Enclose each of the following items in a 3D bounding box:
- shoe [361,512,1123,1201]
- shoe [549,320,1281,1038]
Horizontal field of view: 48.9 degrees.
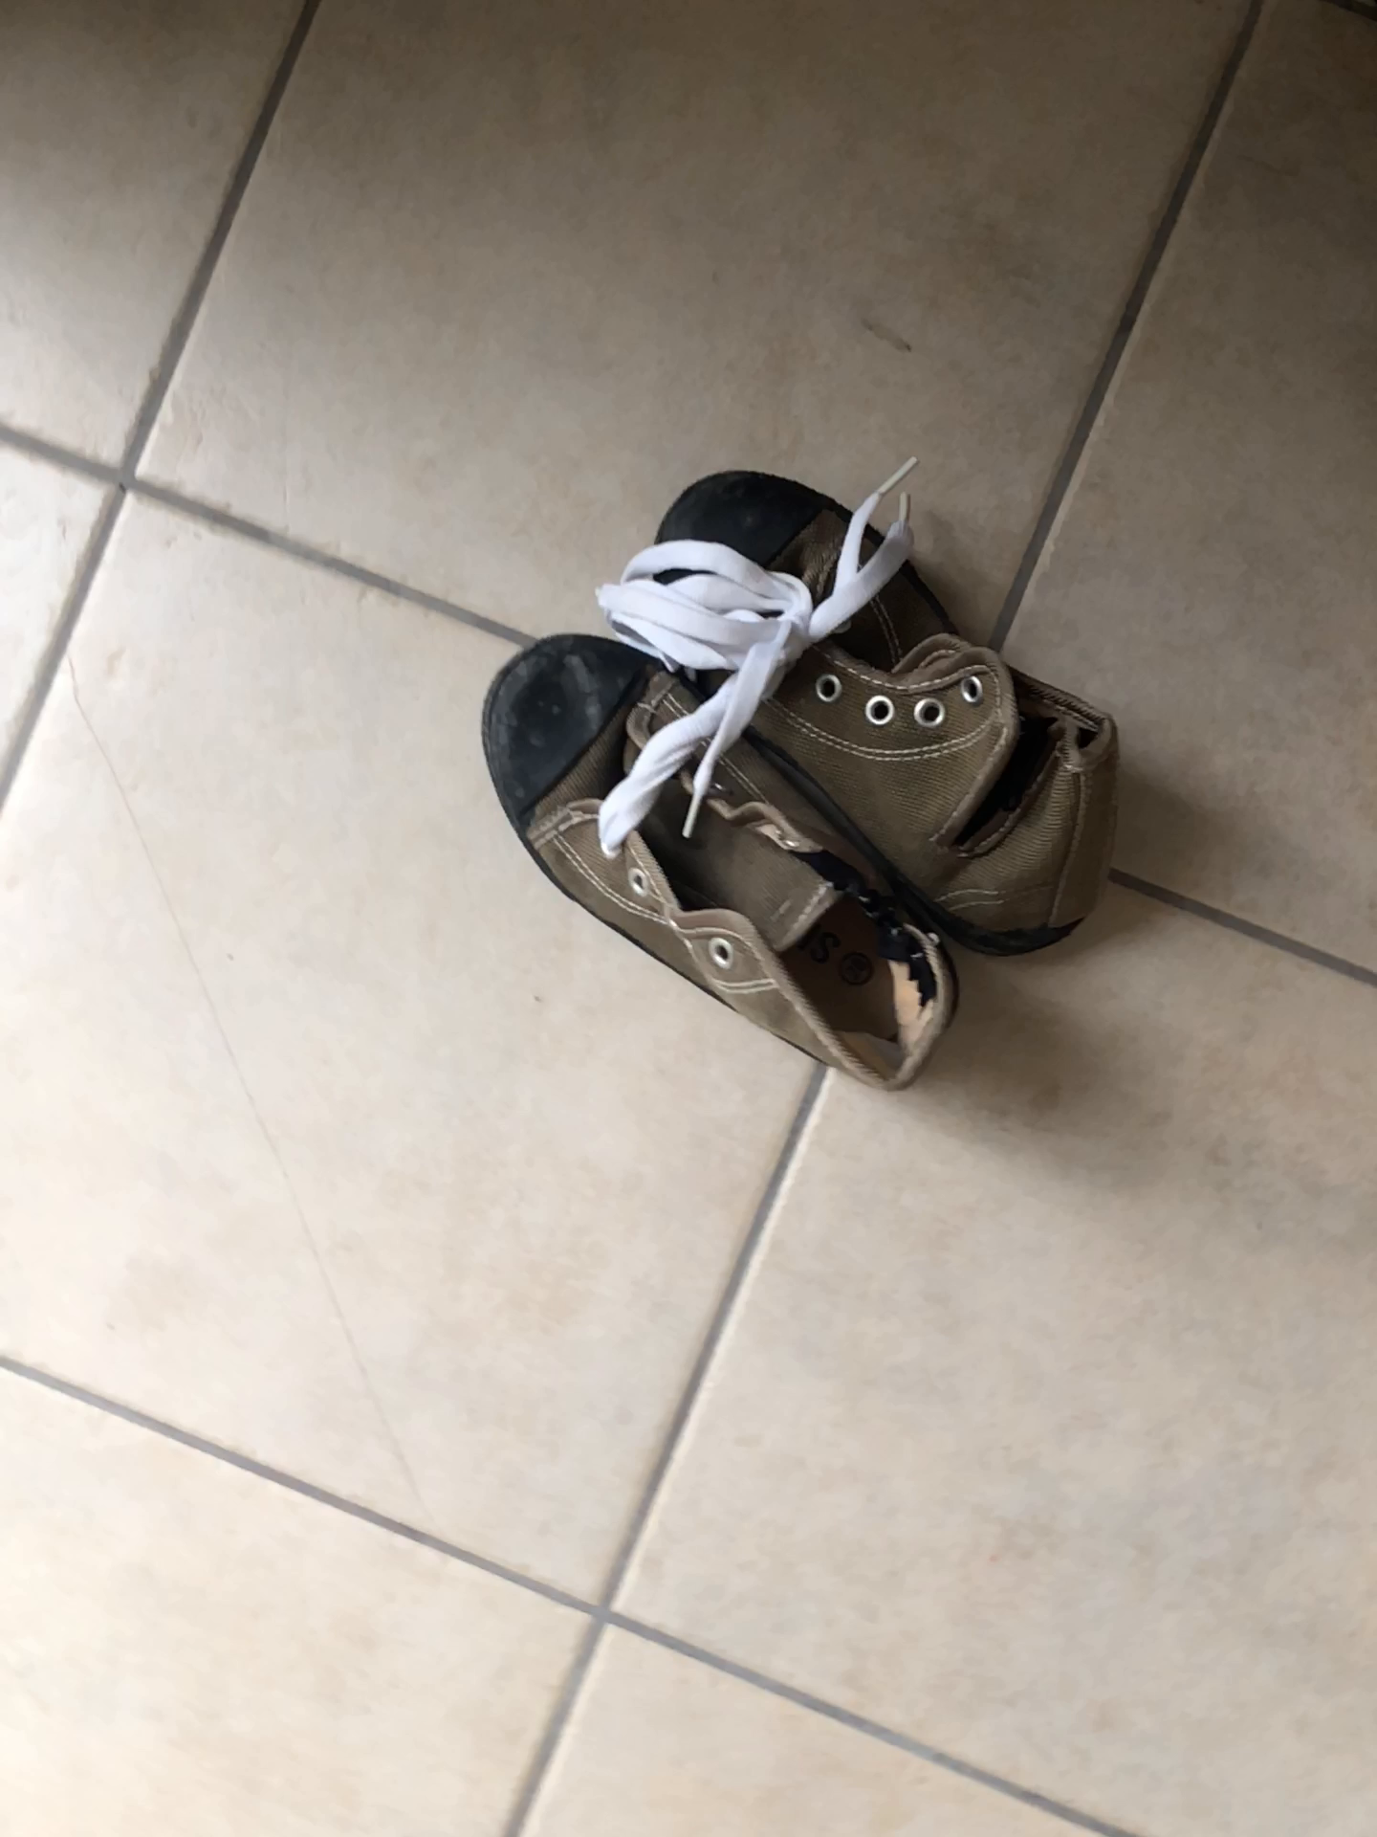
[{"bbox_3d":[0.016,-0.018,0.465,0.200,0.110,0.080,38,92,2],"label":"shoe"},{"bbox_3d":[0.064,-0.066,0.469,0.200,0.110,0.080,44,92,2],"label":"shoe"}]
